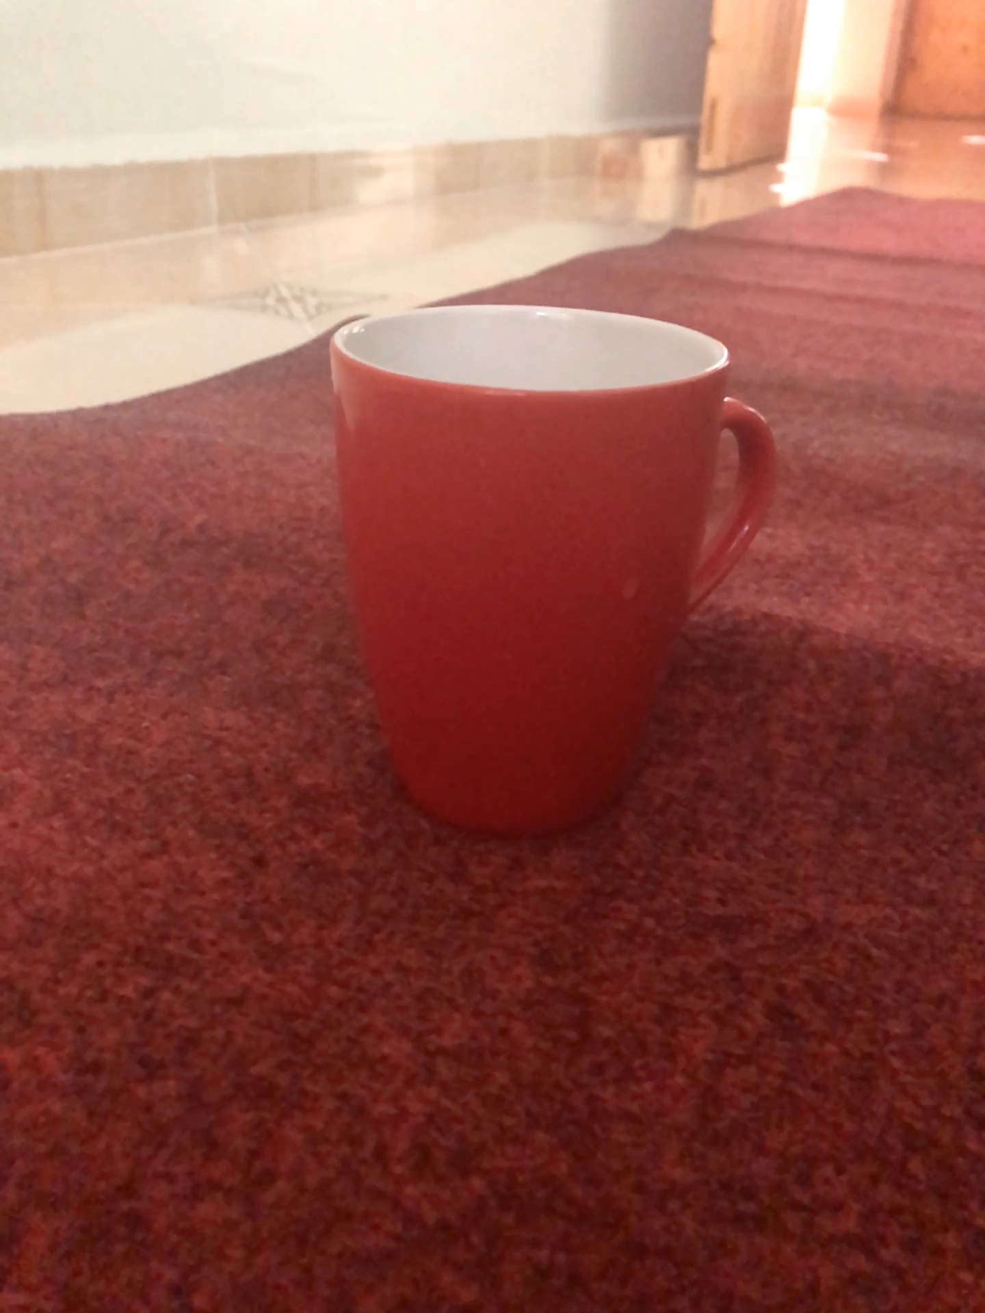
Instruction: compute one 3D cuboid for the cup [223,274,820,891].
[{"bbox_3d":[0.010,-0.028,0.250,0.078,0.094,0.109,19,32,30],"label":"cup"}]
